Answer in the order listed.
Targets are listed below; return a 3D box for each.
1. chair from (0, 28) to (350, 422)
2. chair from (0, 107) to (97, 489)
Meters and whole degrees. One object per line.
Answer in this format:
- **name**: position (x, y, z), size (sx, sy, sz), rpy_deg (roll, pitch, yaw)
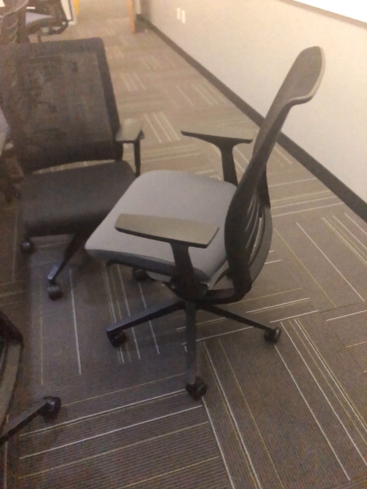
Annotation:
- **chair**: position (0.049, -0.094, 1.335), size (0.710, 0.962, 0.726), rpy_deg (9, 39, 13)
- **chair**: position (-0.684, 0.337, 0.802), size (0.720, 0.962, 0.736), rpy_deg (1, 38, 4)
